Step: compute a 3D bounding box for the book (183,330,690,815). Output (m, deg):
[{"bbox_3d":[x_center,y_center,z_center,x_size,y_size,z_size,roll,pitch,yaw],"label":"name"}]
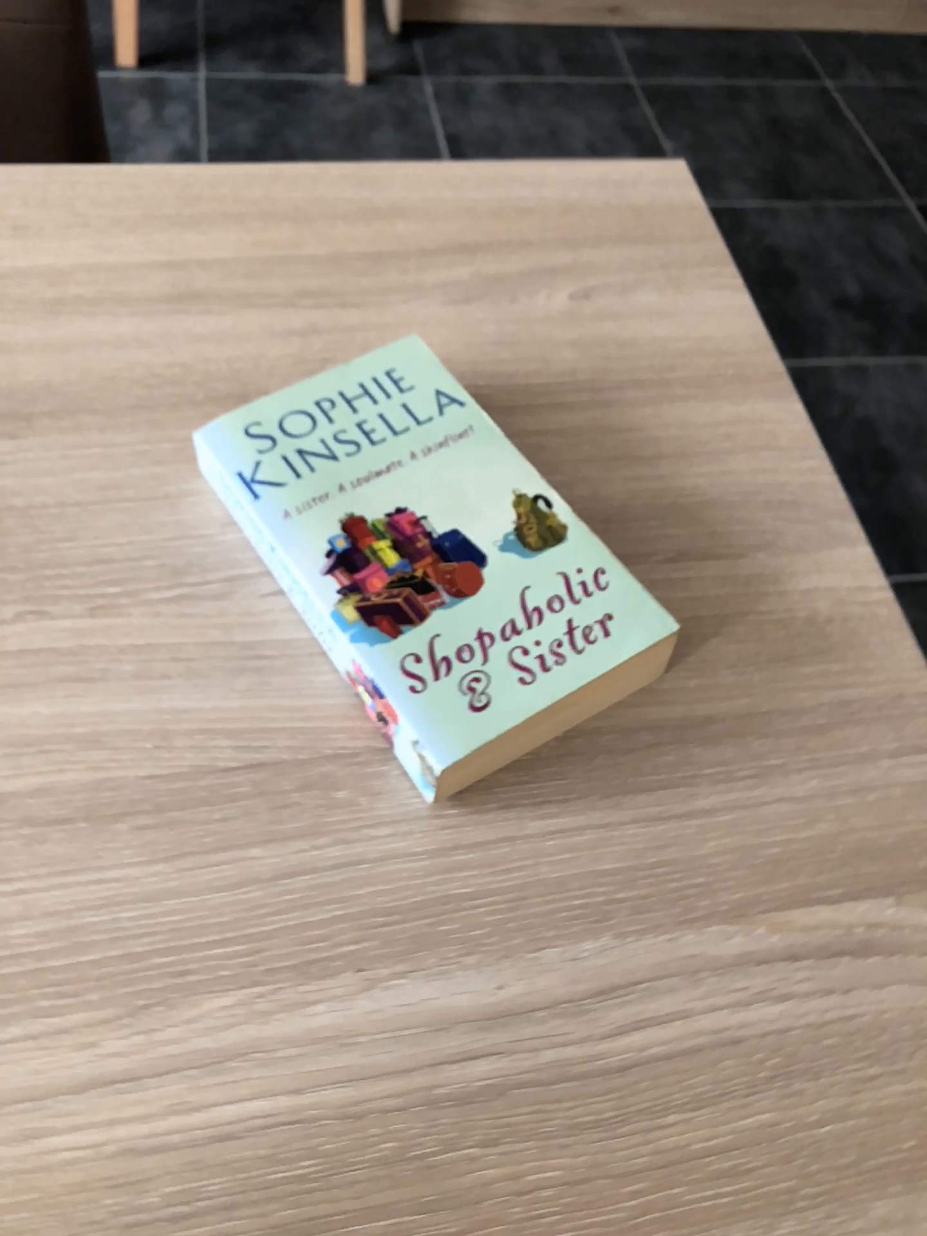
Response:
[{"bbox_3d":[-0.016,-0.028,0.395,0.107,0.032,0.180,-28,62,-22],"label":"book"}]
